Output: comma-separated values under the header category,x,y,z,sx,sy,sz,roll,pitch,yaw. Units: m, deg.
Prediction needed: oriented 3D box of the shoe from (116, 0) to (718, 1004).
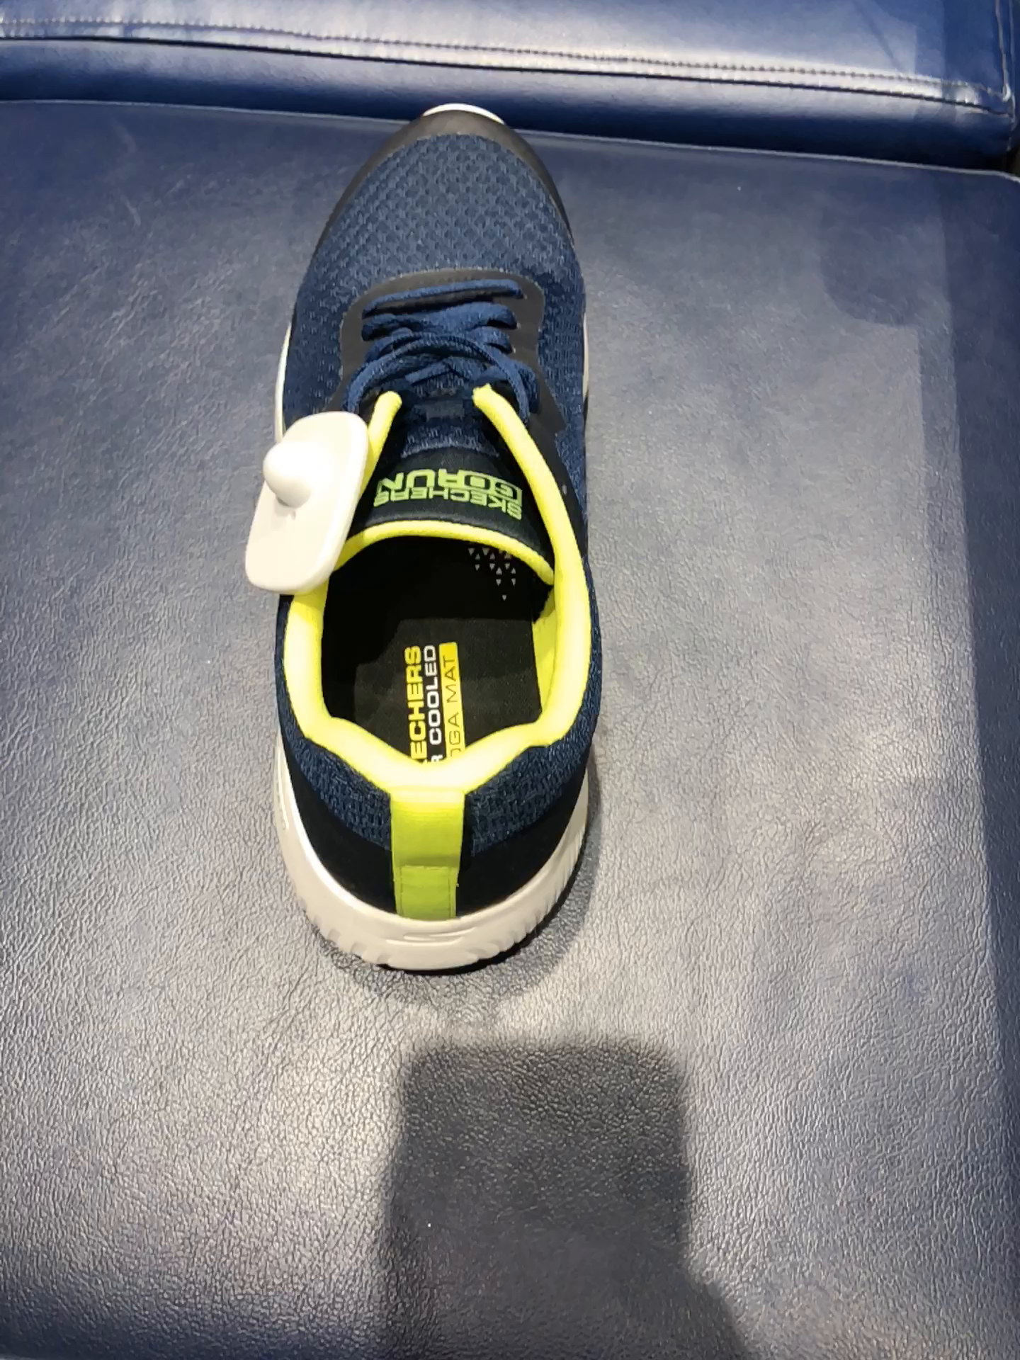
category,x,y,z,sx,sy,sz,roll,pitch,yaw
shoe,-0.025,-0.050,0.323,0.113,0.132,0.255,-3,68,-1
